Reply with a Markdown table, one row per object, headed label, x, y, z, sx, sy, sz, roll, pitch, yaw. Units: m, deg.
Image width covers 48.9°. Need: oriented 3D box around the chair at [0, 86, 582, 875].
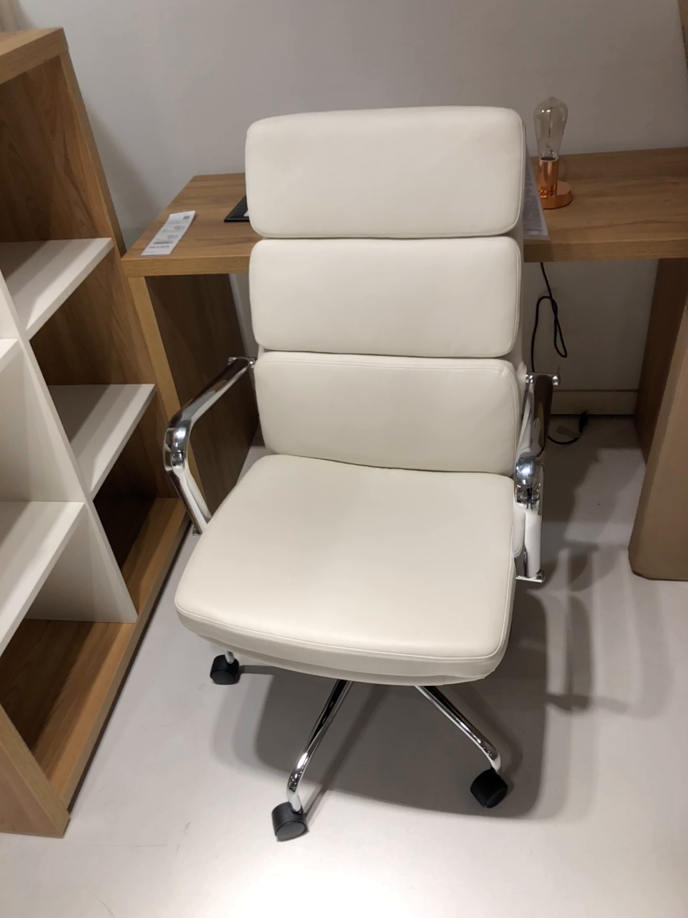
| label | x | y | z | sx | sy | sz | roll | pitch | yaw |
| --- | --- | --- | --- | --- | --- | --- | --- | --- | --- |
| chair | -0.006 | 0.050 | 1.249 | 0.640 | 1.033 | 0.685 | 2 | 39 | 12 |
